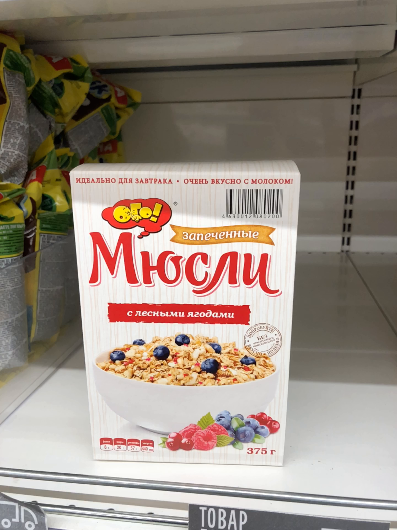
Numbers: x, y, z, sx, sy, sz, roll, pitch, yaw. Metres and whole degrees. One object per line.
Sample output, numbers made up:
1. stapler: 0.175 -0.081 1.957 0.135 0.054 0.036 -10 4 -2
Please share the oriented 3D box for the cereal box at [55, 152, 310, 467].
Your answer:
1. cereal box: -0.006 0.030 0.298 0.140 0.199 0.060 0 17 4
